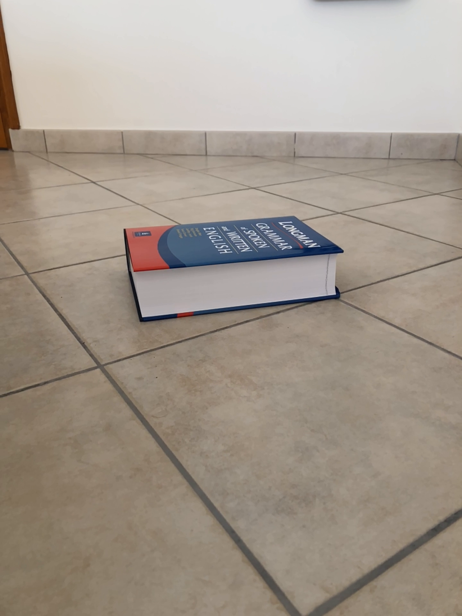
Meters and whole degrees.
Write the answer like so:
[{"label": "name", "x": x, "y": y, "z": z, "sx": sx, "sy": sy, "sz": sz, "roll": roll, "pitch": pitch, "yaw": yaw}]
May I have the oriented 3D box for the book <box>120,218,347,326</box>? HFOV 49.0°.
[{"label": "book", "x": -0.008, "y": -0.056, "z": 0.649, "sx": 0.250, "sy": 0.060, "sz": 0.178, "roll": -6, "pitch": 25, "yaw": -13}]
